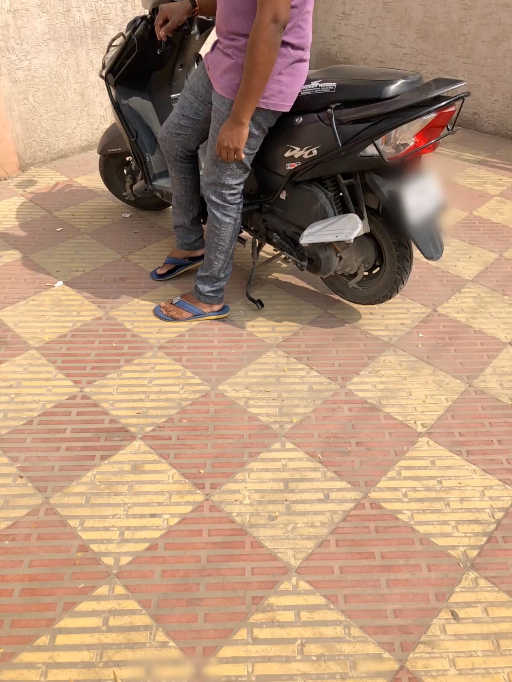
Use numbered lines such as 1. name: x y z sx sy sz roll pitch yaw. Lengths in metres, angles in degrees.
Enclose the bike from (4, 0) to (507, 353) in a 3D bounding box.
1. bike: -0.092 -0.751 2.068 1.506 0.987 0.577 25 44 29
